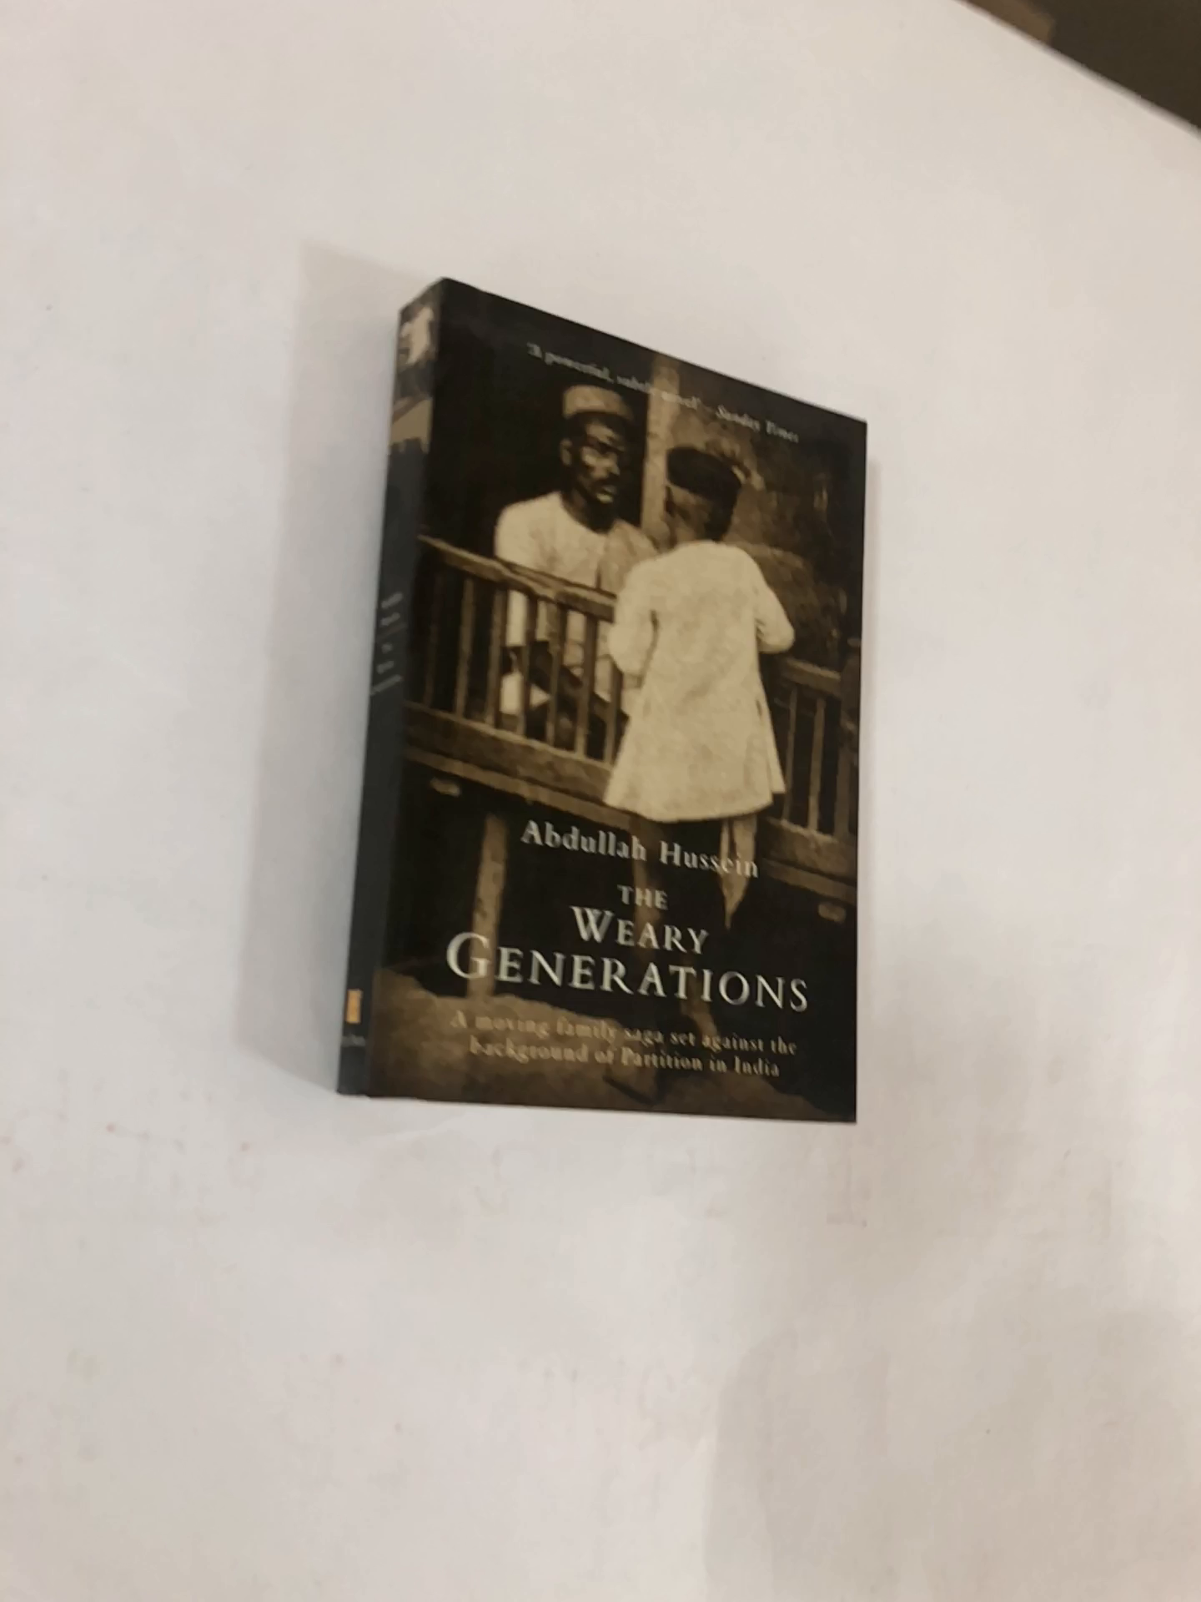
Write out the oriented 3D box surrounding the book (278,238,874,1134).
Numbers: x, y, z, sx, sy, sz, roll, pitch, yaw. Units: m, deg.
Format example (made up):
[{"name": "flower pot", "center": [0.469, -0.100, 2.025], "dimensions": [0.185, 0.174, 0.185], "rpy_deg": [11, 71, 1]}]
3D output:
[{"name": "book", "center": [0.003, -0.022, 0.336], "dimensions": [0.140, 0.030, 0.200], "rpy_deg": [9, 76, -26]}]
